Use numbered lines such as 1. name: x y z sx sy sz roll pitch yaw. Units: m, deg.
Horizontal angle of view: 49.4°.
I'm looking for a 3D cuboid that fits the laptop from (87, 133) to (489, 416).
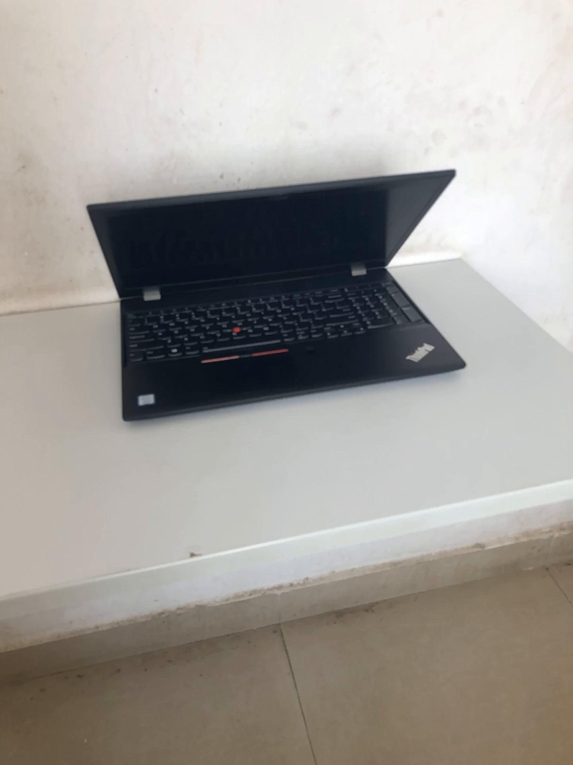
1. laptop: -0.015 -0.131 0.668 0.347 0.173 0.235 -9 36 -9
